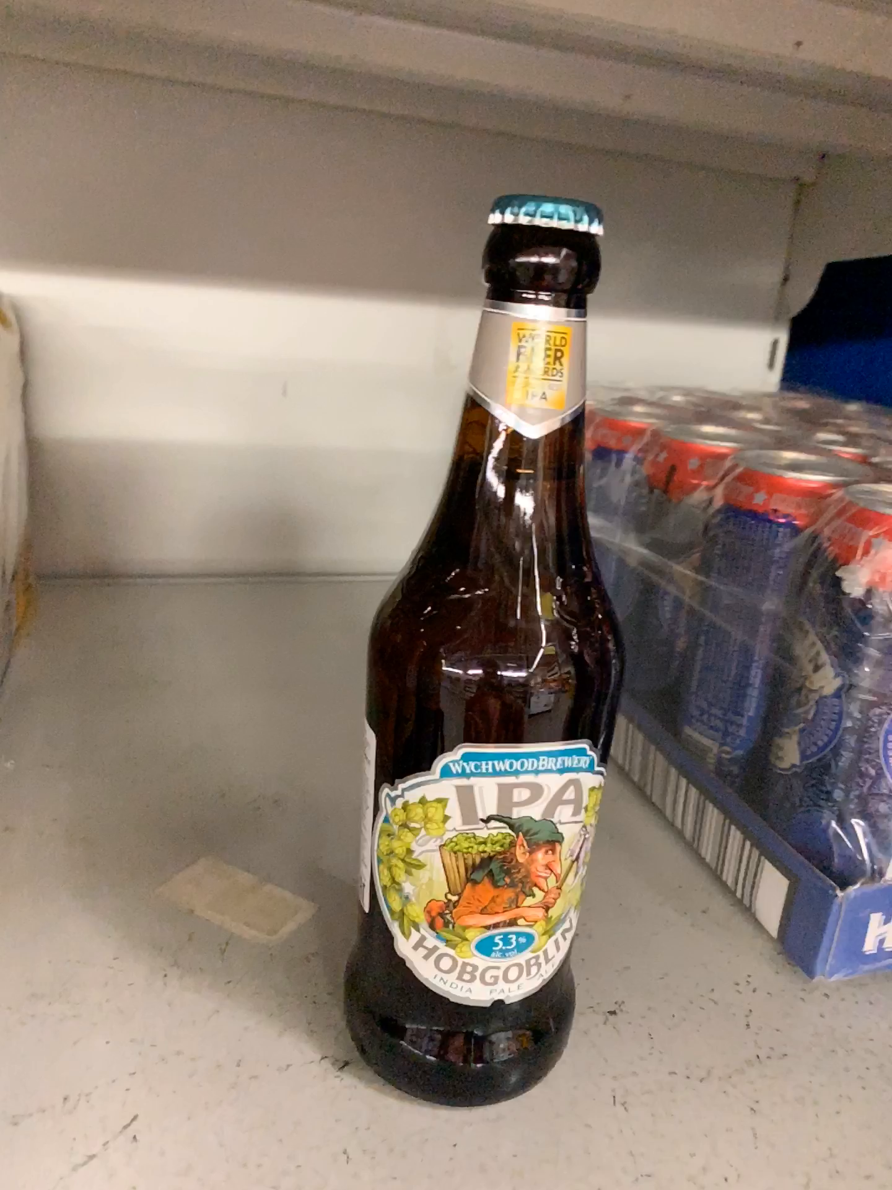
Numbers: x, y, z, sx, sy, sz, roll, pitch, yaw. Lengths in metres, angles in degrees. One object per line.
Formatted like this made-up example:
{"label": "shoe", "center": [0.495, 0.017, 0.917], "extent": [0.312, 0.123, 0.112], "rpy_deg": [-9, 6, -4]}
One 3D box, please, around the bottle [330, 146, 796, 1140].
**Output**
{"label": "bottle", "center": [0.016, 0.019, 0.262], "extent": [0.080, 0.249, 0.080], "rpy_deg": [5, 18, -2]}
